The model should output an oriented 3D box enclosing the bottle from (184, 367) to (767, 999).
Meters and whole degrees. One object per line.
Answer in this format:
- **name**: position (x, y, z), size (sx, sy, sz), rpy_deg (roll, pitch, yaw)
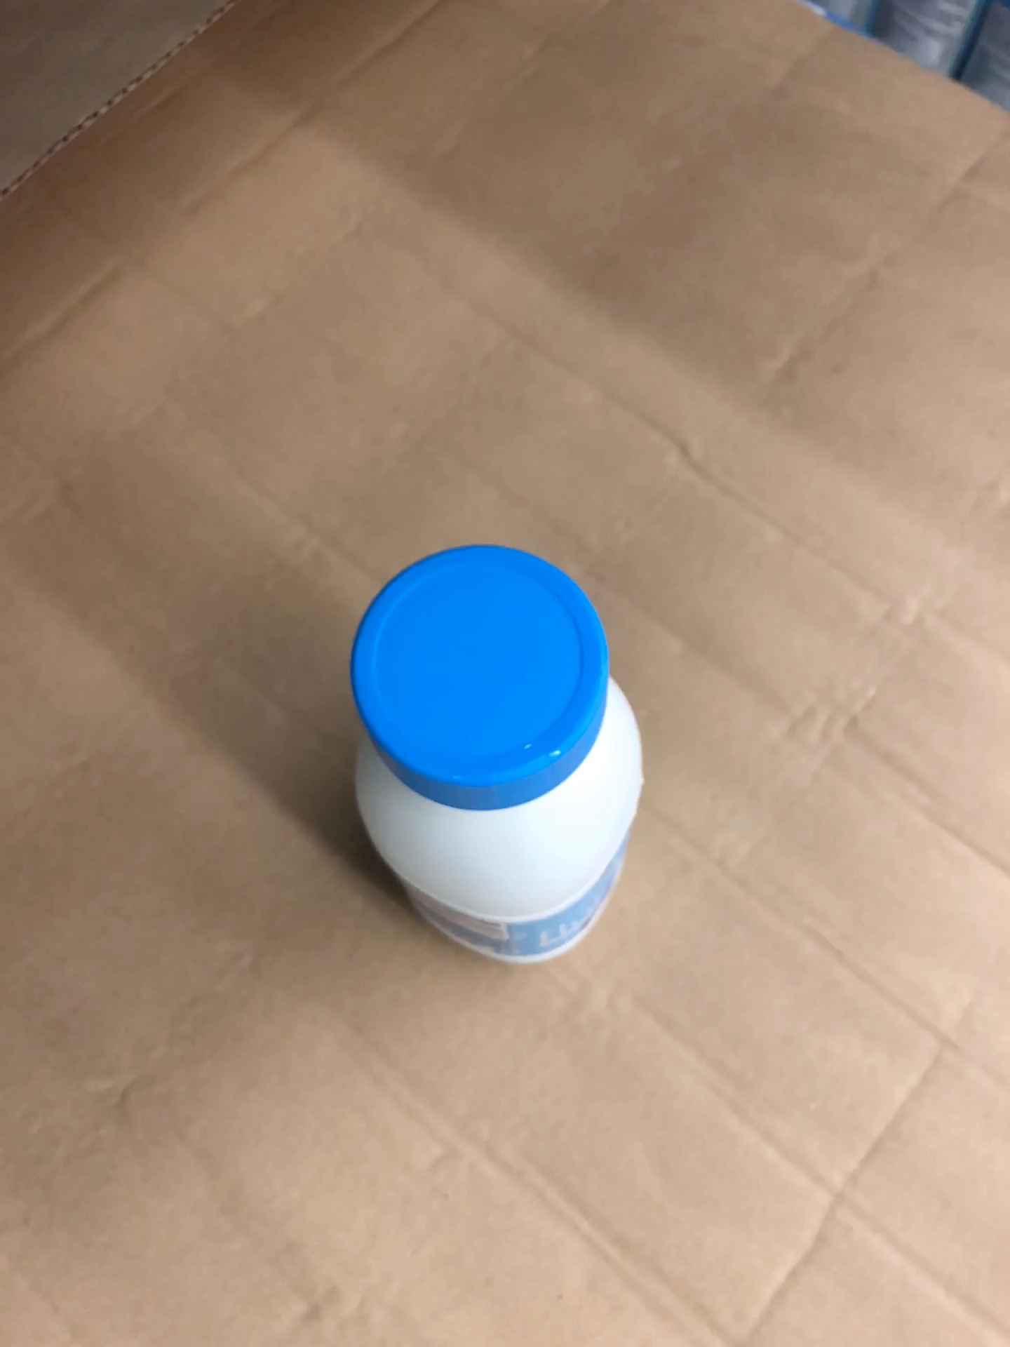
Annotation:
- **bottle**: position (-0.001, 0.021, 0.305), size (0.080, 0.190, 0.080), rpy_deg (-1, 69, 2)
